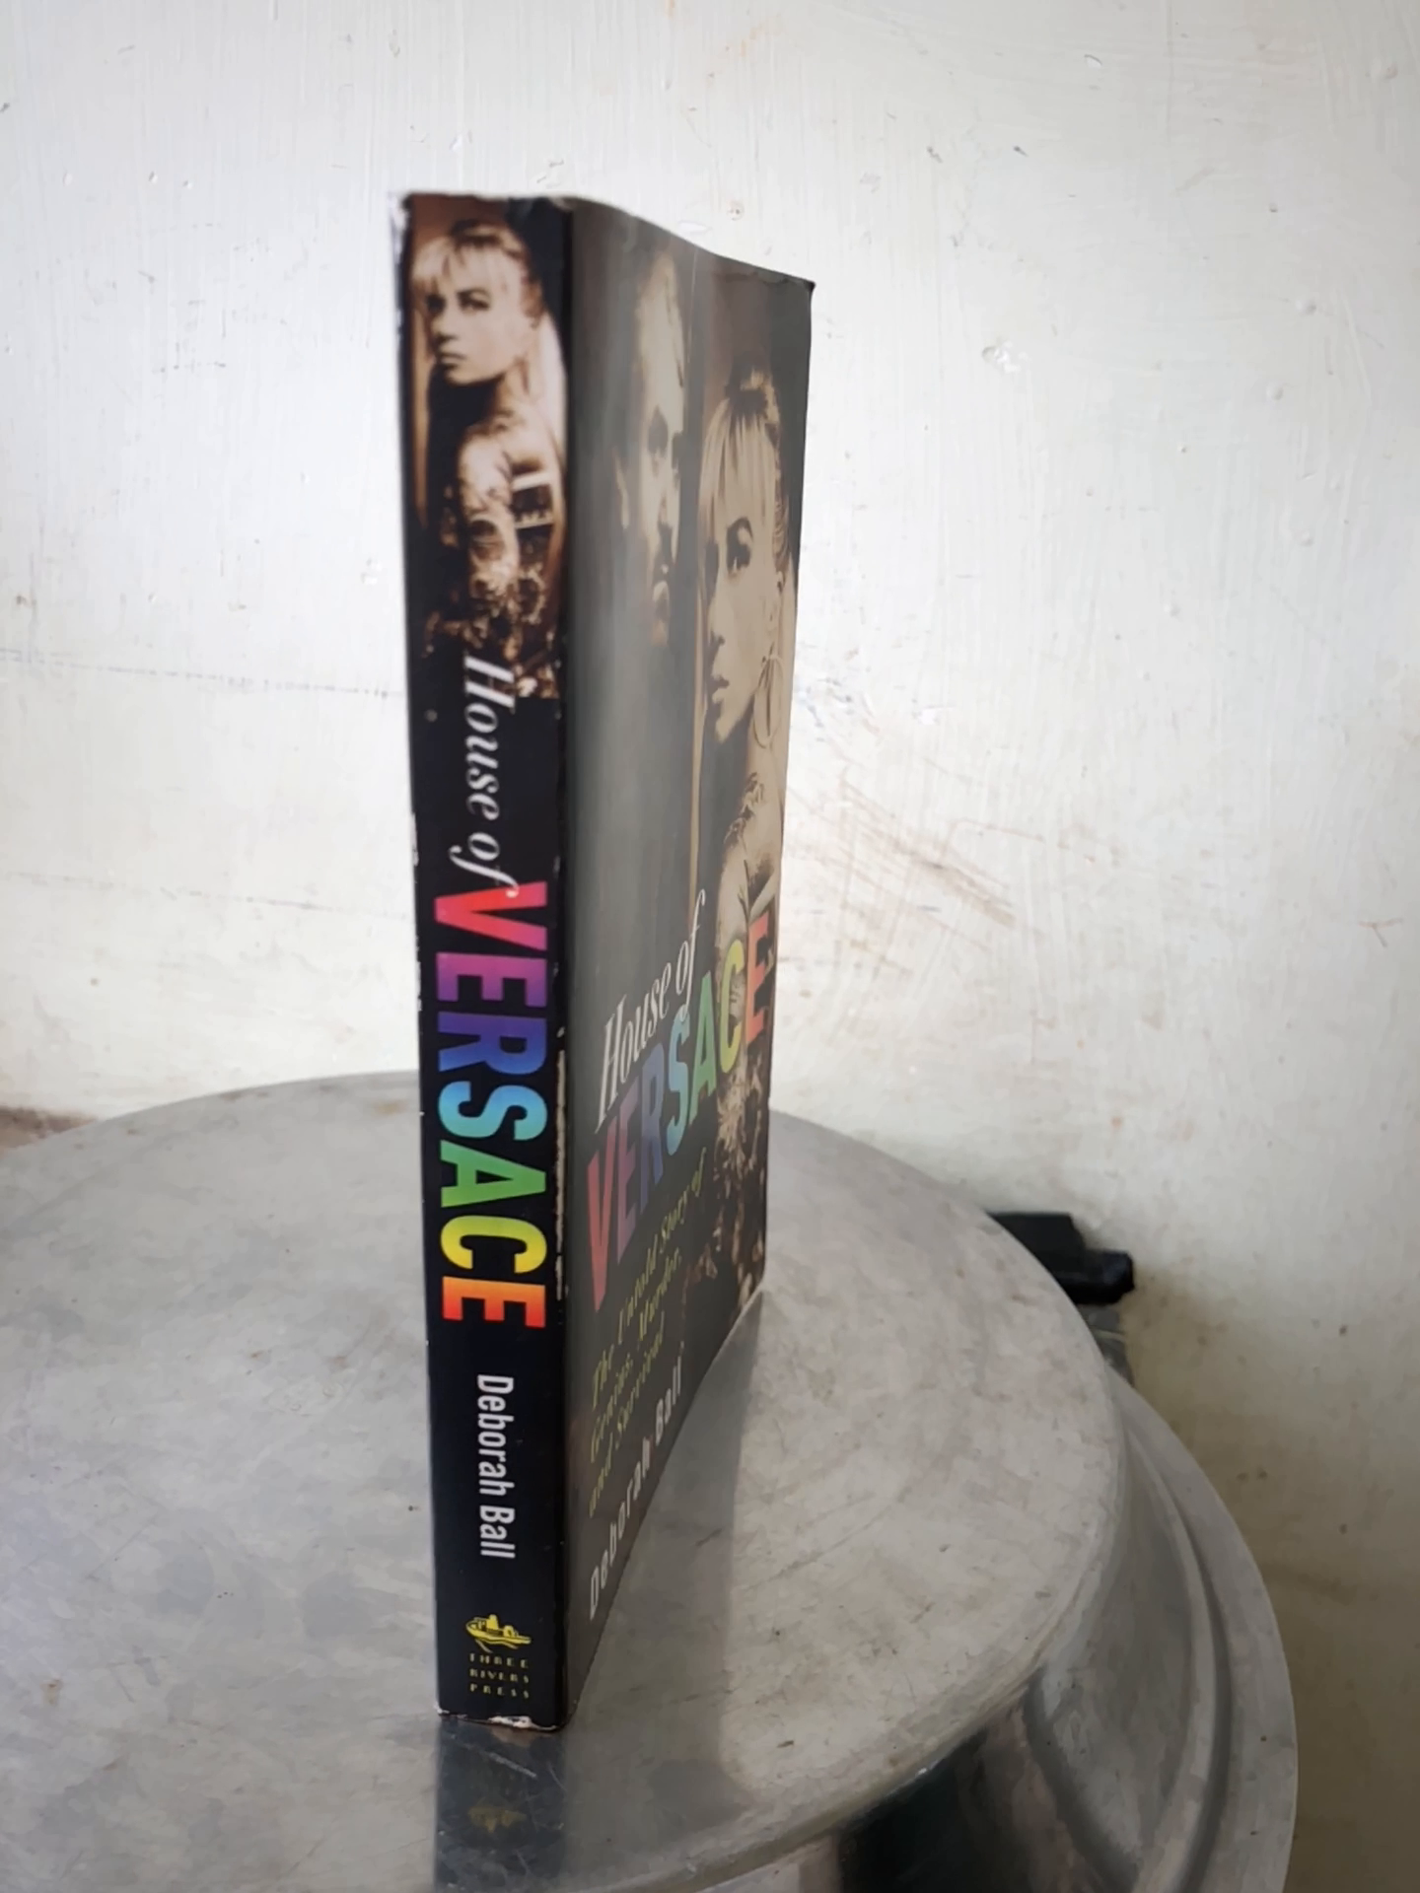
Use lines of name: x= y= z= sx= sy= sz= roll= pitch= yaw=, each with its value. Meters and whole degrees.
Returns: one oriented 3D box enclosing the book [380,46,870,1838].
book: x=-0.006 y=-0.010 z=0.276 sx=0.040 sy=0.219 sz=0.181 roll=6 pitch=16 yaw=7
